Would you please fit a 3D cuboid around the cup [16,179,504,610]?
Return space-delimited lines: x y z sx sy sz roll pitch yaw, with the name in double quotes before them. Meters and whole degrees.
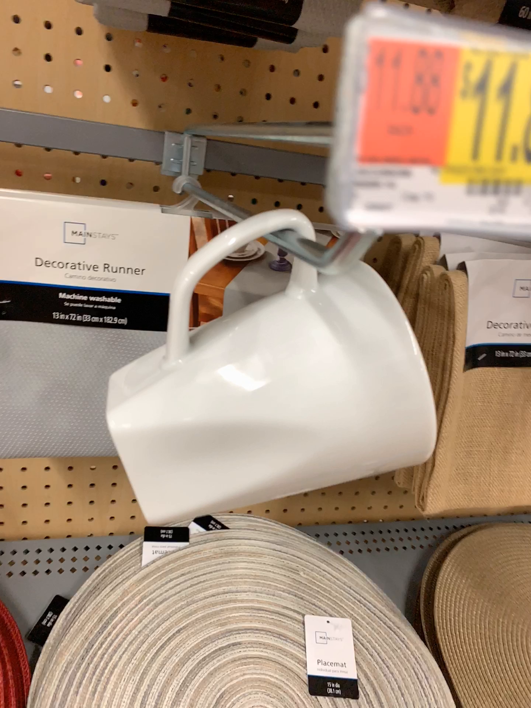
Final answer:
"cup" -0.001 0.006 0.219 0.140 0.119 0.090 -10 26 -9
